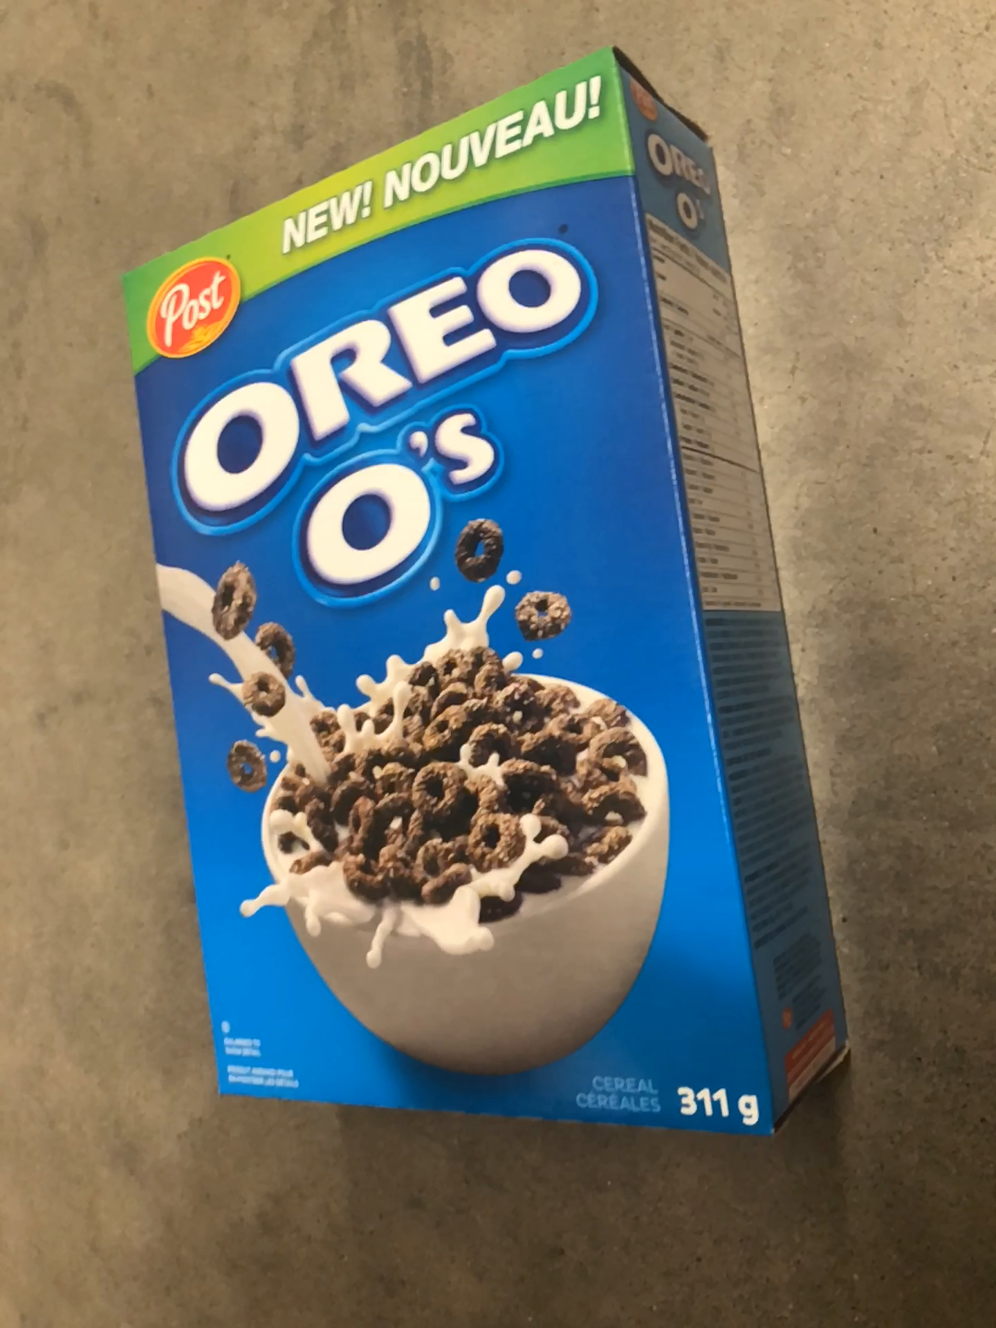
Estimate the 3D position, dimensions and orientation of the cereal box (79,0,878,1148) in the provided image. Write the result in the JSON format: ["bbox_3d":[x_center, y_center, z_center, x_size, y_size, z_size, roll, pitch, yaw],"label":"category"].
[{"bbox_3d":[-0.018,-0.011,0.347,0.211,0.070,0.280,-10,86,31],"label":"cereal box"}]
